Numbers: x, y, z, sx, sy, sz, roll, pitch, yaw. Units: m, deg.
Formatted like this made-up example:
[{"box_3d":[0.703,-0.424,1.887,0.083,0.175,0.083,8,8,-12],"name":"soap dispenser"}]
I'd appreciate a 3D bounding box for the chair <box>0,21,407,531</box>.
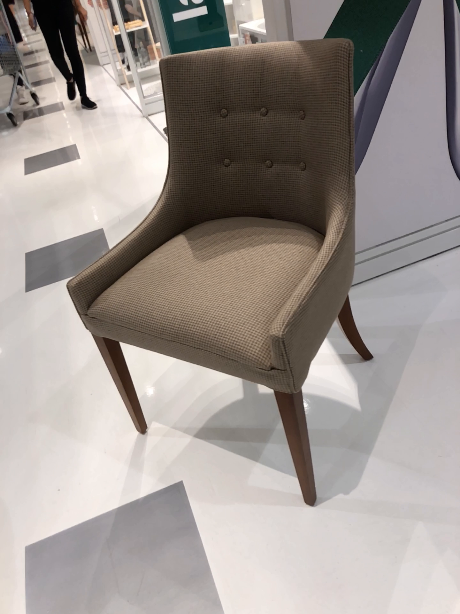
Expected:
[{"box_3d":[-0.007,-0.097,1.132,0.592,0.794,0.593,15,44,33],"name":"chair"}]
